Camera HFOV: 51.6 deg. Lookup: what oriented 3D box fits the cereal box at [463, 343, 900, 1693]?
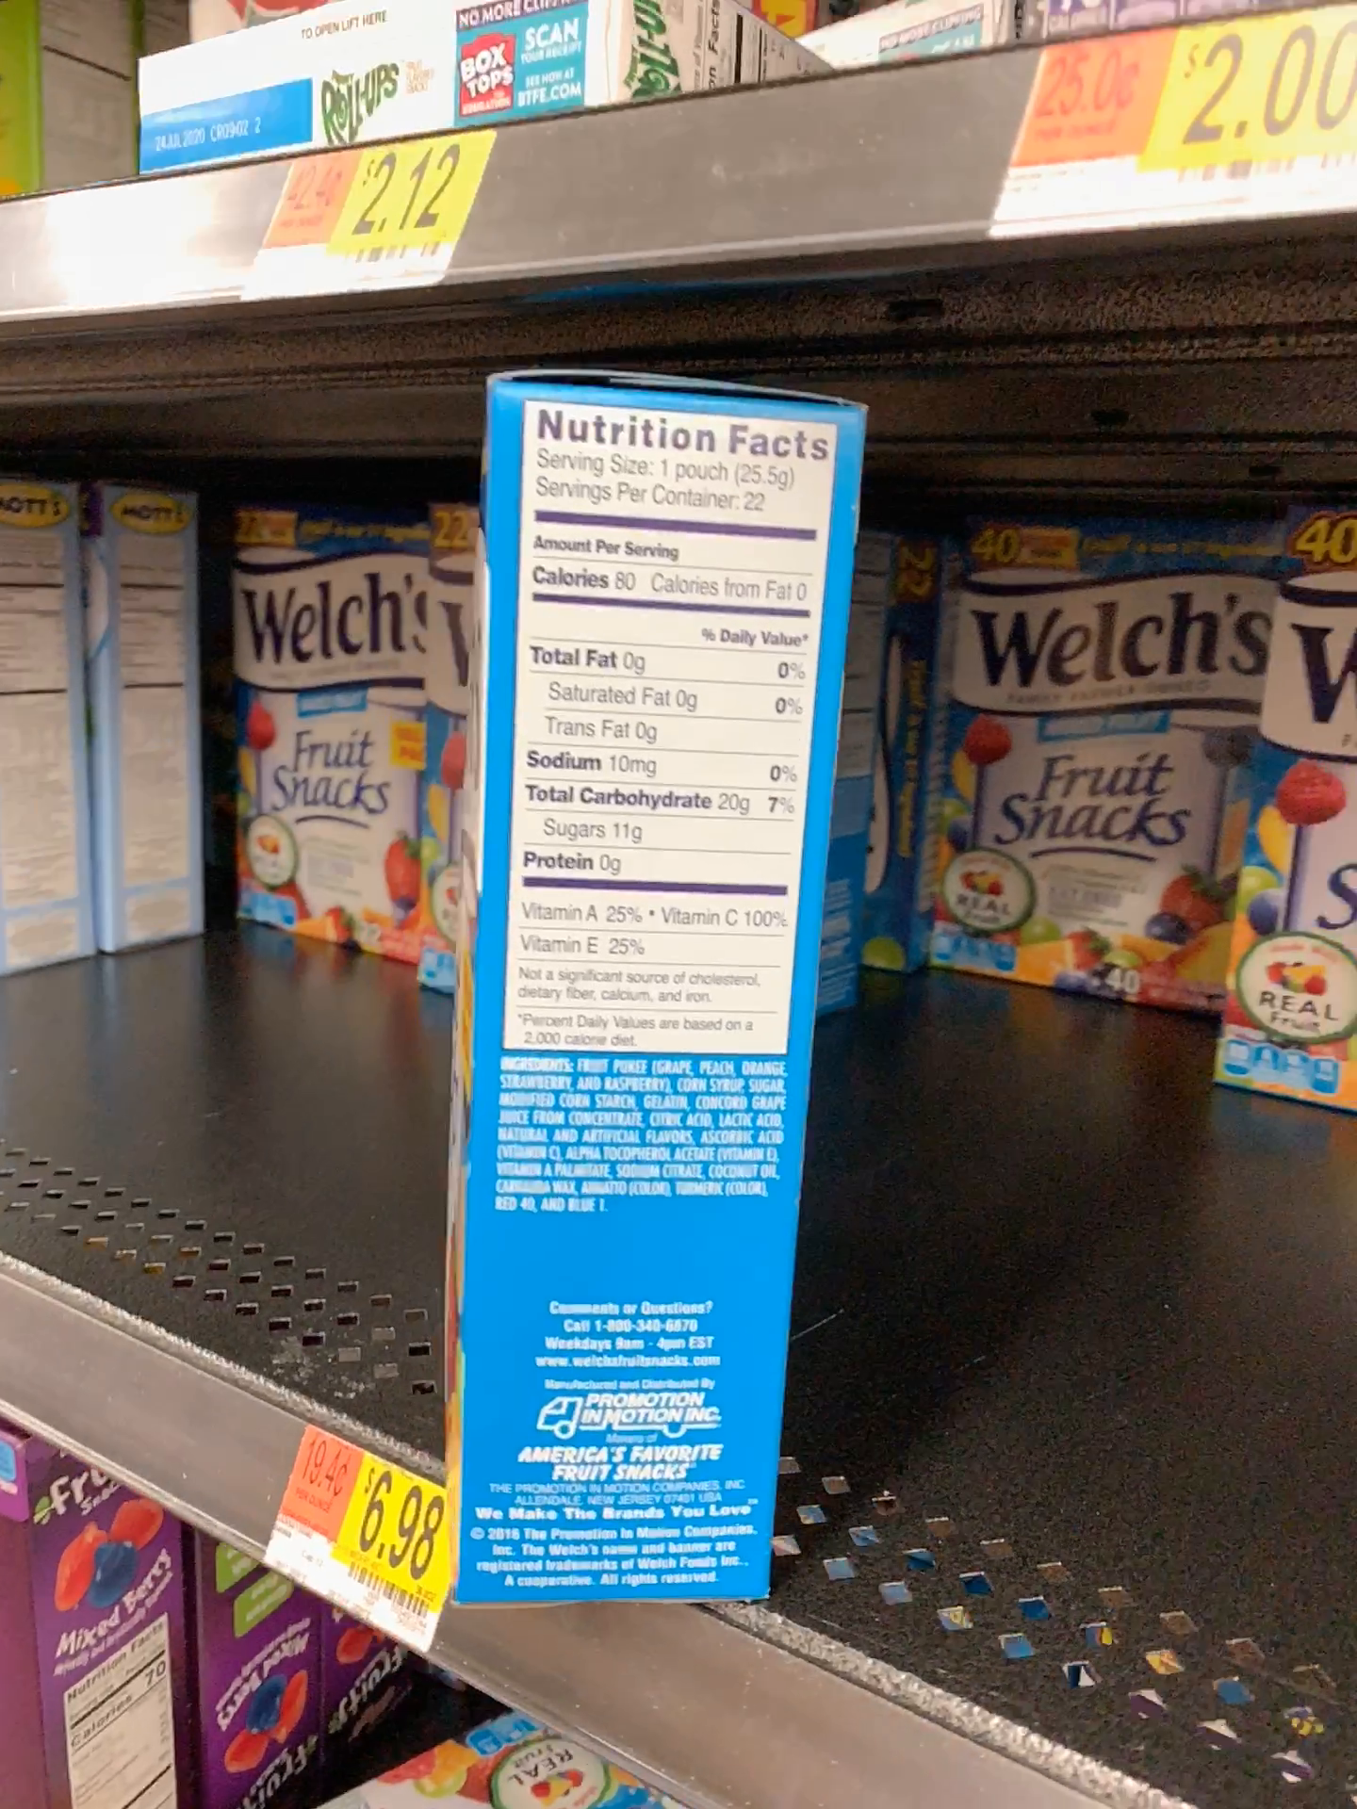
[{"bbox_3d":[-0.014,0.012,0.317,0.060,0.229,0.170,2,12,-9],"label":"cereal box"}]
